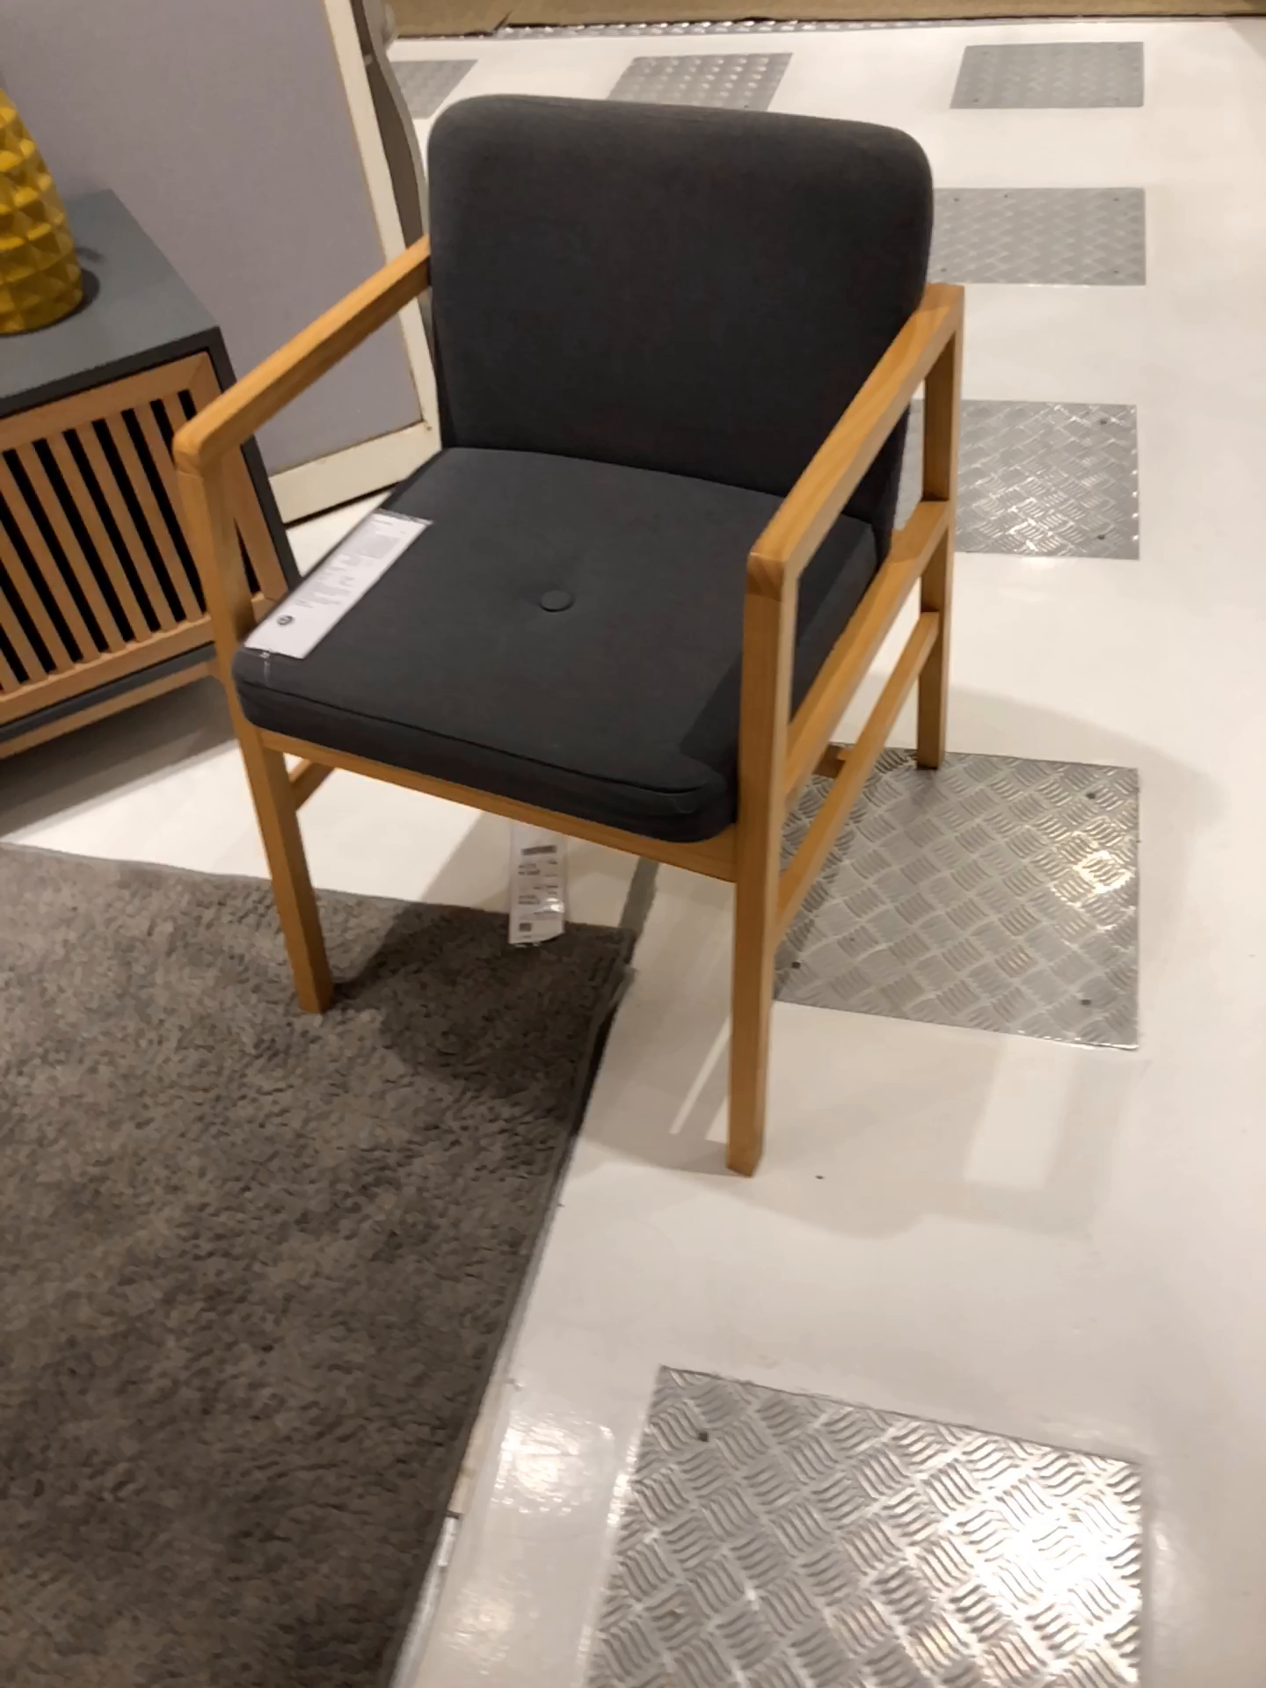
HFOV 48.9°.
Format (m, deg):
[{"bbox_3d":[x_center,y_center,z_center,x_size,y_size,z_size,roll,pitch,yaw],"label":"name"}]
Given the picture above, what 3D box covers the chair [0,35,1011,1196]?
[{"bbox_3d":[-0.044,-0.238,1.331,0.561,0.735,0.704,15,50,21],"label":"chair"}]
